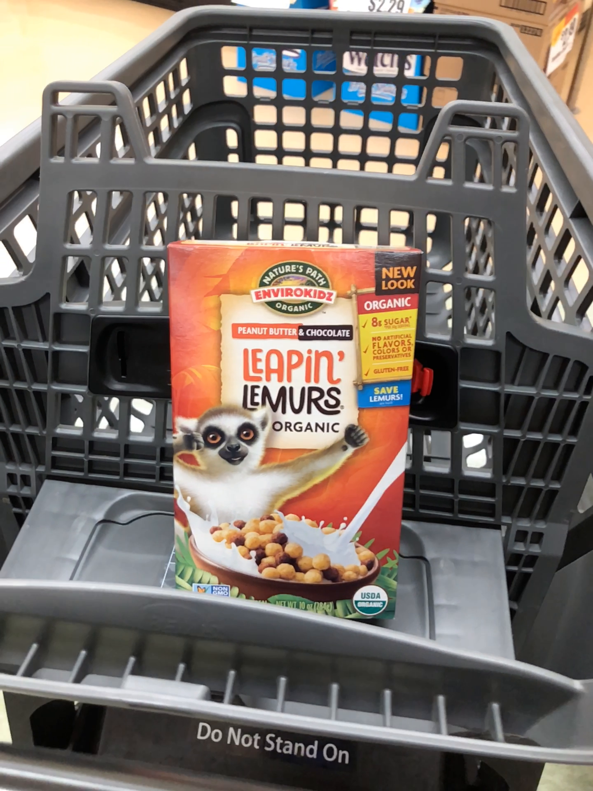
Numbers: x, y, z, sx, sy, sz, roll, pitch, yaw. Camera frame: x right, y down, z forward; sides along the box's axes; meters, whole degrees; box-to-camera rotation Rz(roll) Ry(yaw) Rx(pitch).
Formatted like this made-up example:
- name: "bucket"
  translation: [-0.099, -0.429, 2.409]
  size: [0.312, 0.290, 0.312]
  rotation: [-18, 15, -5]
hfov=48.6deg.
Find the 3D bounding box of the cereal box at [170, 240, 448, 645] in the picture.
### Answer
- name: "cereal box"
  translation: [0.005, 0.031, 0.444]
  size: [0.160, 0.260, 0.070]
  rotation: [2, 14, 1]
